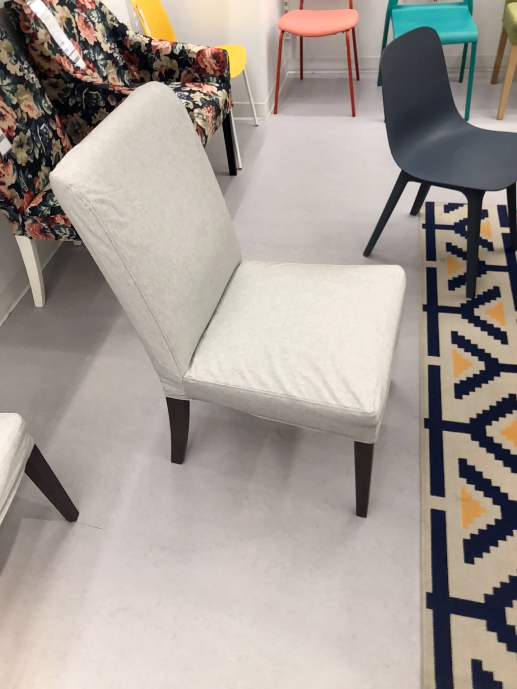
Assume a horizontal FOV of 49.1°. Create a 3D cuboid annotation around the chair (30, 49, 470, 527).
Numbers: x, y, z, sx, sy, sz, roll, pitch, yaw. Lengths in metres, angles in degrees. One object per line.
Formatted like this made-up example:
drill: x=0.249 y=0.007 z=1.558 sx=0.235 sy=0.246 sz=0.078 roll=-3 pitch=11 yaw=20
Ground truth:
chair: x=0.063 y=-0.114 z=1.285 sx=0.641 sy=0.854 sz=0.563 roll=8 pitch=47 yaw=14
